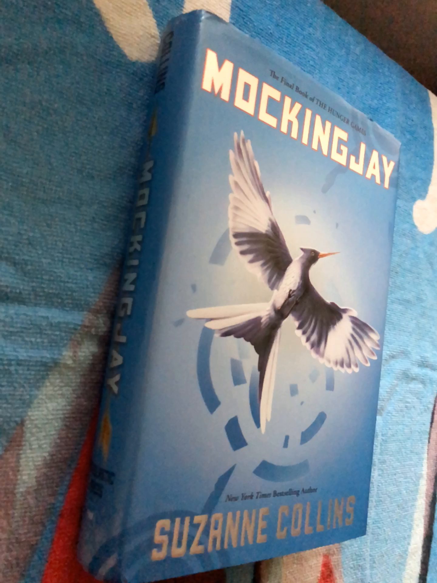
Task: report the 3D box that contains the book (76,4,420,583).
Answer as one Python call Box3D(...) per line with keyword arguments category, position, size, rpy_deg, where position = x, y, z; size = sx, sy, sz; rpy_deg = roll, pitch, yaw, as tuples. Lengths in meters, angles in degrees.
Box3D(category="book", position=(0.027, 0.009, 0.218), size=(0.140, 0.040, 0.200), rpy_deg=(13, 81, -37))
